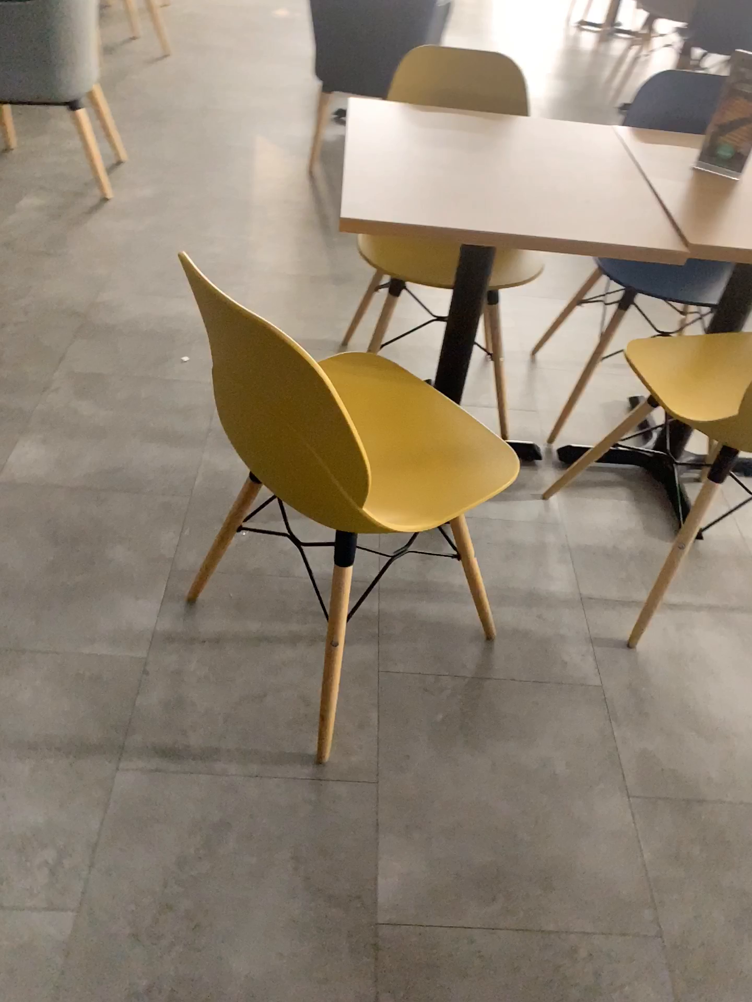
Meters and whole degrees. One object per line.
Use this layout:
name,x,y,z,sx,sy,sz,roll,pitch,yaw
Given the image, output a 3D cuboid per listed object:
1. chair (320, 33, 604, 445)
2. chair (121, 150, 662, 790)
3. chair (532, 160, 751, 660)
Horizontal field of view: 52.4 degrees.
chair,0.135,-0.607,1.854,0.497,0.776,0.496,3,43,-5
chair,-0.018,-0.050,1.267,0.494,0.786,0.519,-28,53,-32
chair,0.708,-0.160,1.469,0.497,0.776,0.496,-5,44,-13
